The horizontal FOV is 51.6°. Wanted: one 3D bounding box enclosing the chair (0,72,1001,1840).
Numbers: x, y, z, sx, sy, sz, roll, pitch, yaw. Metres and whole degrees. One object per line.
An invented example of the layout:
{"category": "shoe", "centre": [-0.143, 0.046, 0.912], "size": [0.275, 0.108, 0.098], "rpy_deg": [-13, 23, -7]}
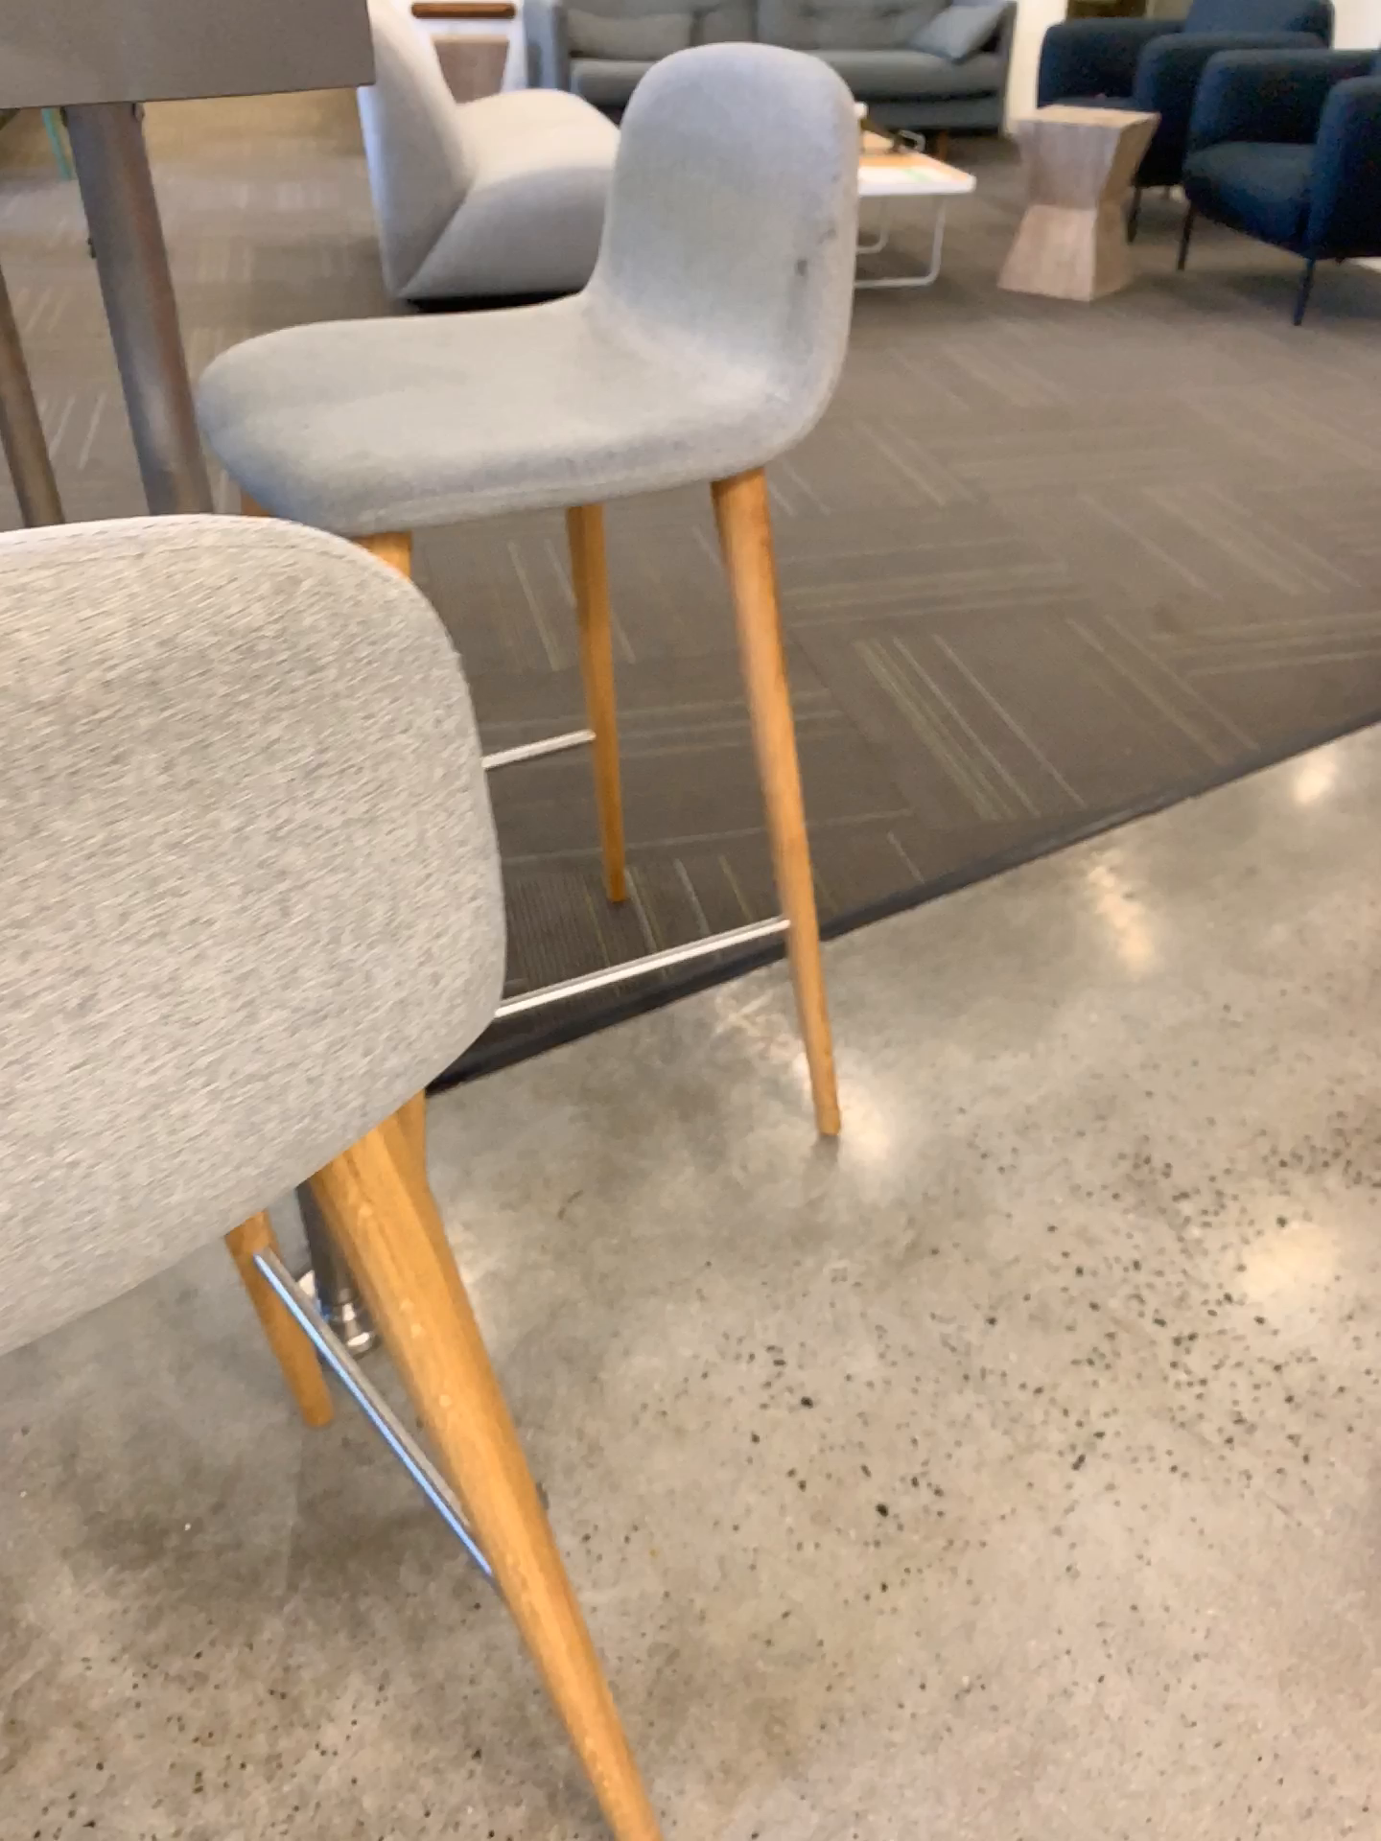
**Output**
{"category": "chair", "centre": [-0.322, 0.187, 0.693], "size": [0.591, 0.964, 0.543], "rpy_deg": [-23, 42, -29]}

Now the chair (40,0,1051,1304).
{"category": "chair", "centre": [-0.172, -0.300, 1.380], "size": [0.540, 0.964, 0.714], "rpy_deg": [-16, 39, -23]}
